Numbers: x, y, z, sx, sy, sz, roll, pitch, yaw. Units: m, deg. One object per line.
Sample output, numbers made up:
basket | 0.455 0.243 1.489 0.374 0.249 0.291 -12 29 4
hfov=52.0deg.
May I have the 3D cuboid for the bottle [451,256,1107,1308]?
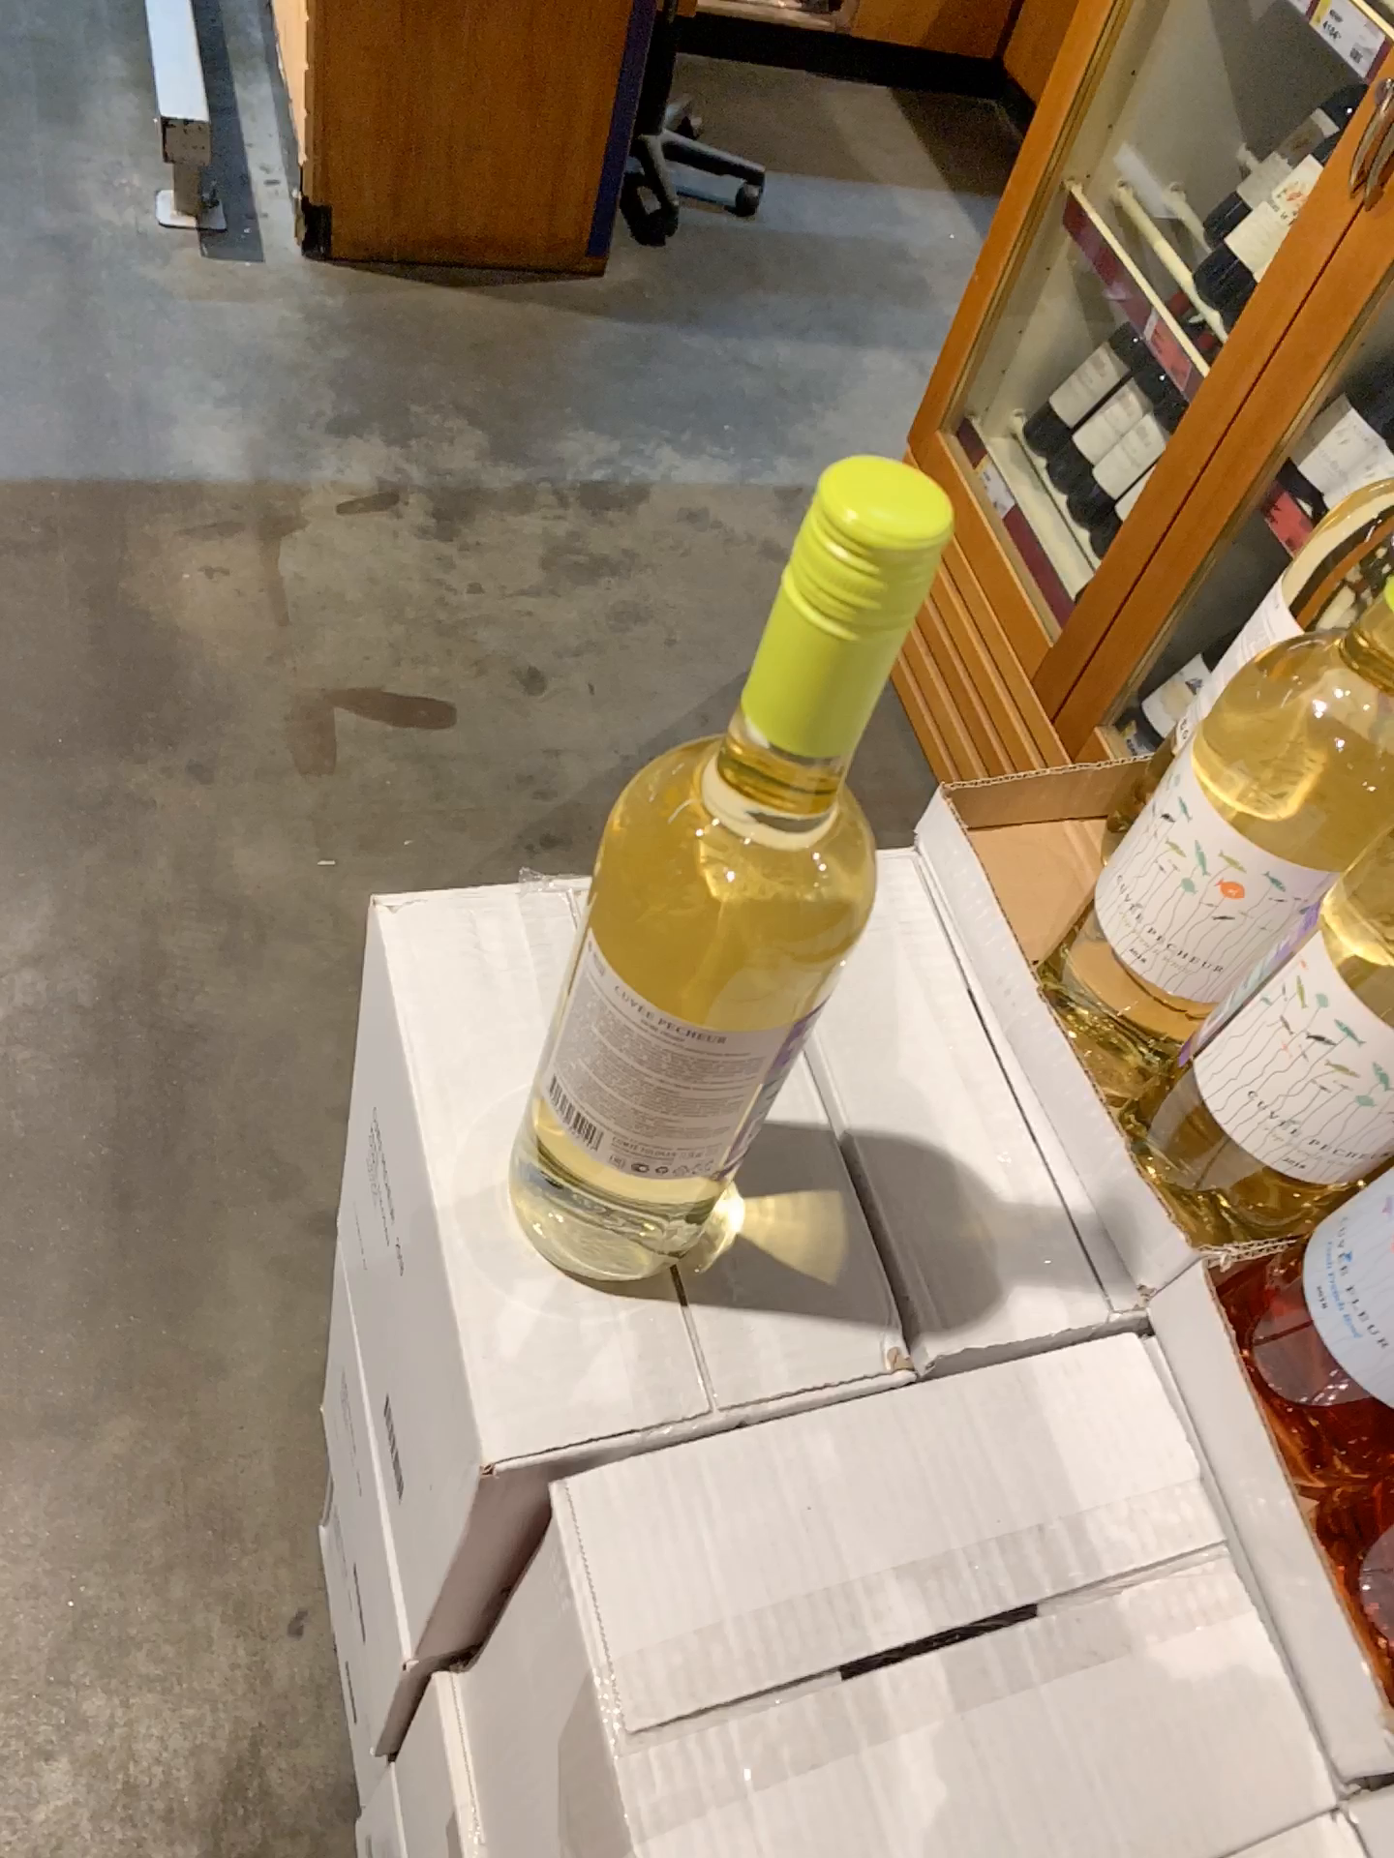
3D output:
bottle | 0.003 -0.008 0.394 0.090 0.298 0.090 8 52 -10
